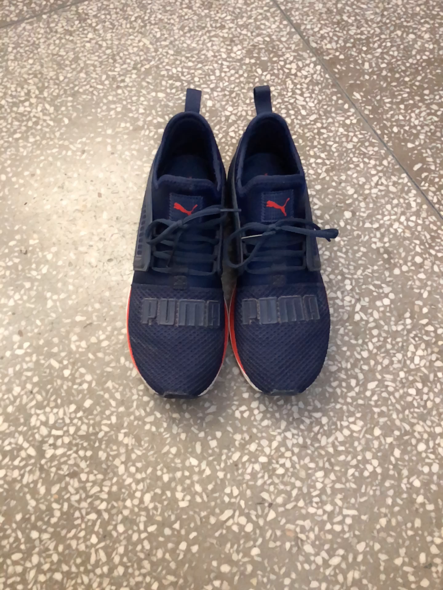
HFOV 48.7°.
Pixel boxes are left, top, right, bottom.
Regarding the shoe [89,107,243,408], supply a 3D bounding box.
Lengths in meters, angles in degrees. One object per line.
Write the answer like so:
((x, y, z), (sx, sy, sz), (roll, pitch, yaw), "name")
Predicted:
((-0.040, -0.035, 0.466), (0.107, 0.113, 0.258), (3, 67, 0), "shoe")

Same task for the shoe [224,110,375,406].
((0.059, -0.035, 0.468), (0.107, 0.113, 0.258), (0, 67, -1), "shoe")
